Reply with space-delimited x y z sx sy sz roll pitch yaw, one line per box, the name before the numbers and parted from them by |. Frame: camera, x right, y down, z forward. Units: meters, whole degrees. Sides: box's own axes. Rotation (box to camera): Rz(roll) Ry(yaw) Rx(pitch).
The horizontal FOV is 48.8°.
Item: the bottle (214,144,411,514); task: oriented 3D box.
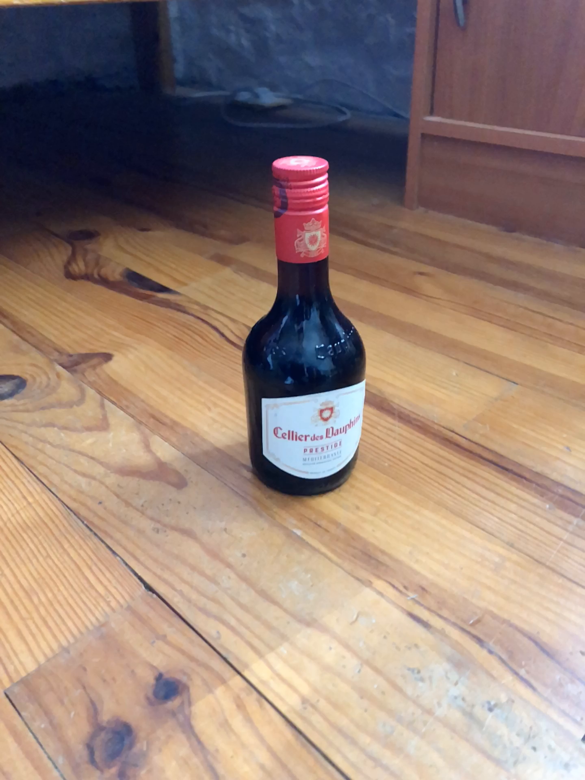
bottle | 0.007 -0.029 0.330 0.070 0.169 0.060 -11 33 -17
